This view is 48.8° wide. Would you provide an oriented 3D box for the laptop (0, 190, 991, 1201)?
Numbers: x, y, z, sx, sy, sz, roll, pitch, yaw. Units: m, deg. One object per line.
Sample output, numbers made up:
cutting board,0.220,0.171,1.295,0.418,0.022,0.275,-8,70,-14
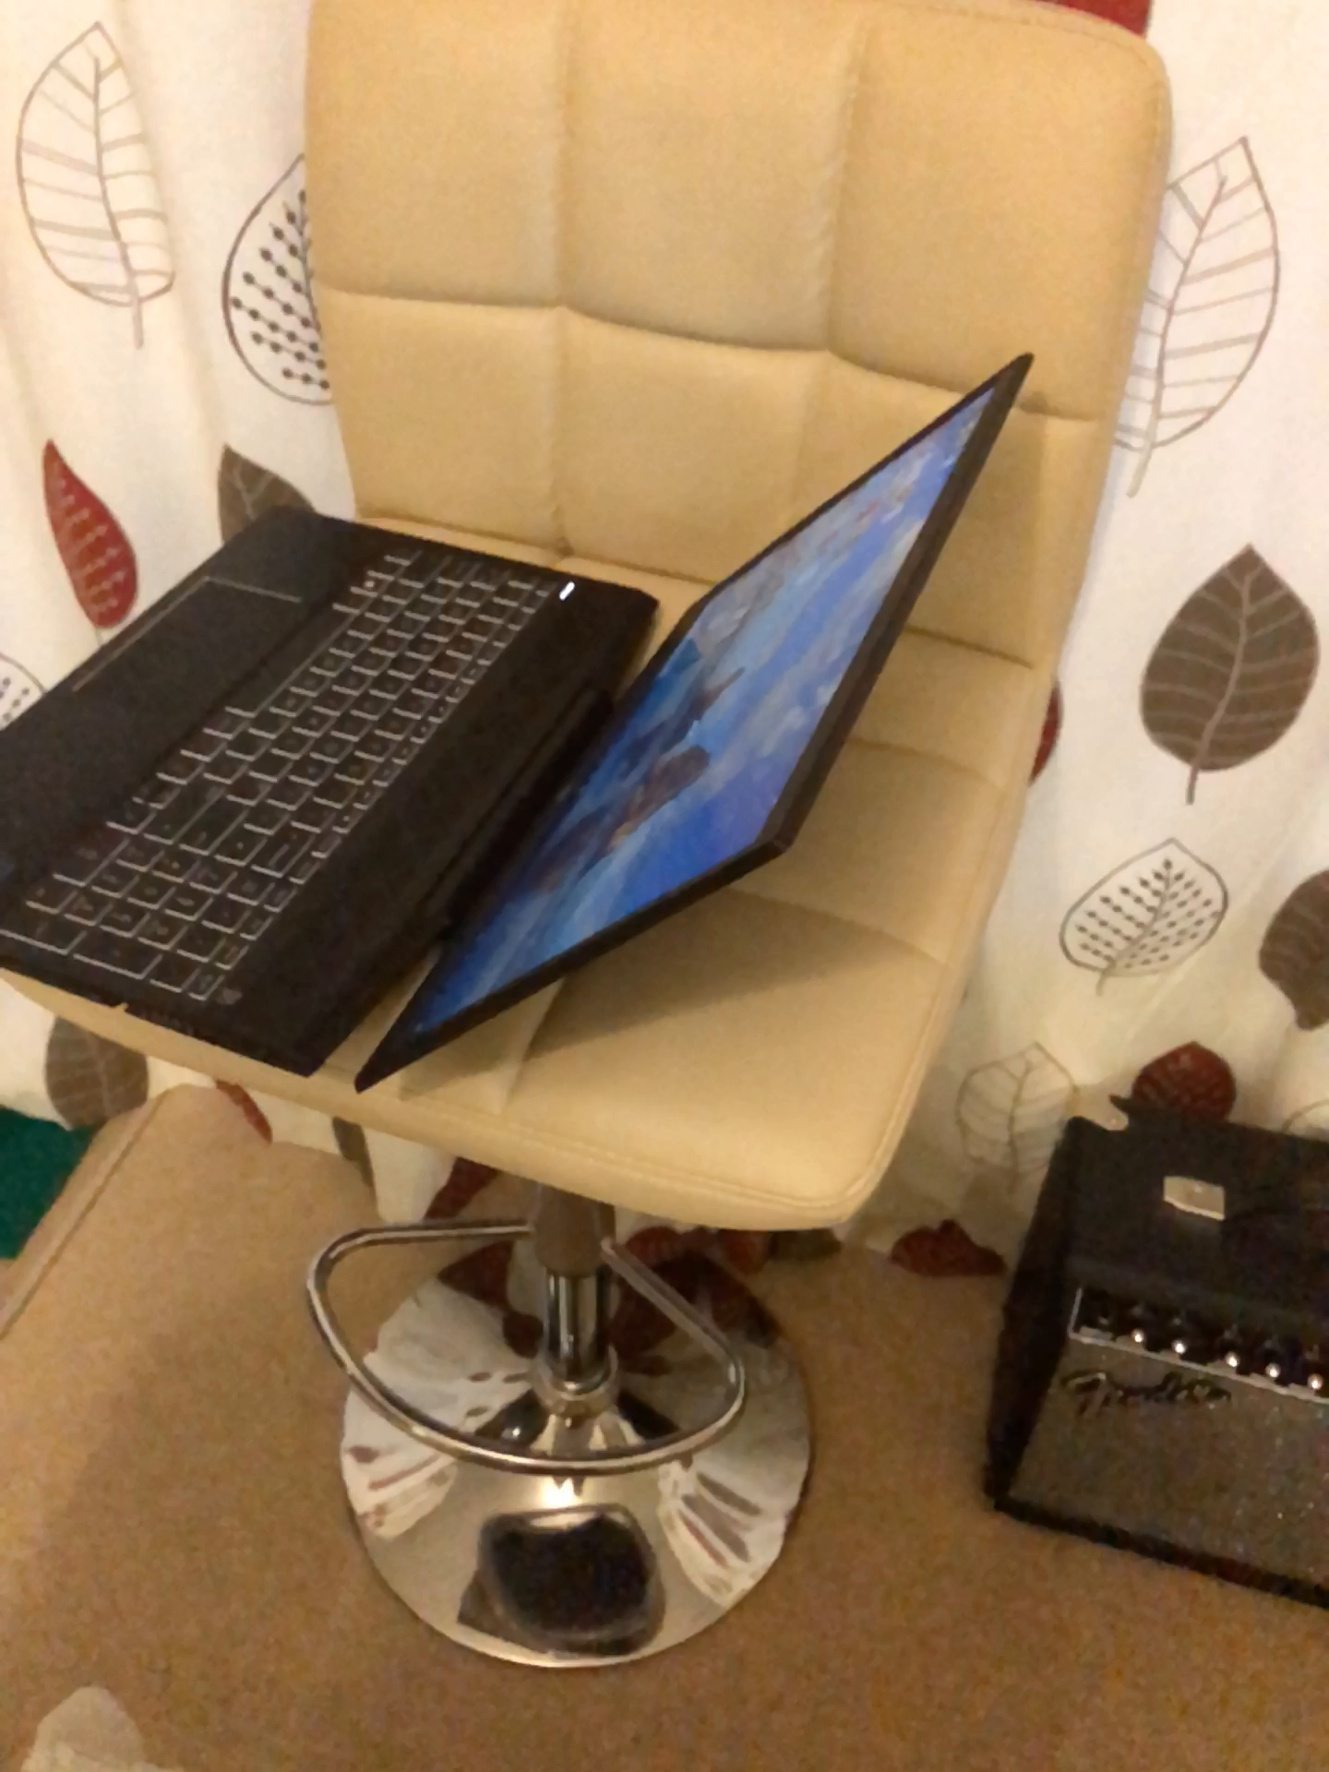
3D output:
laptop,-0.109,-0.120,0.613,0.401,0.159,0.349,17,44,14
